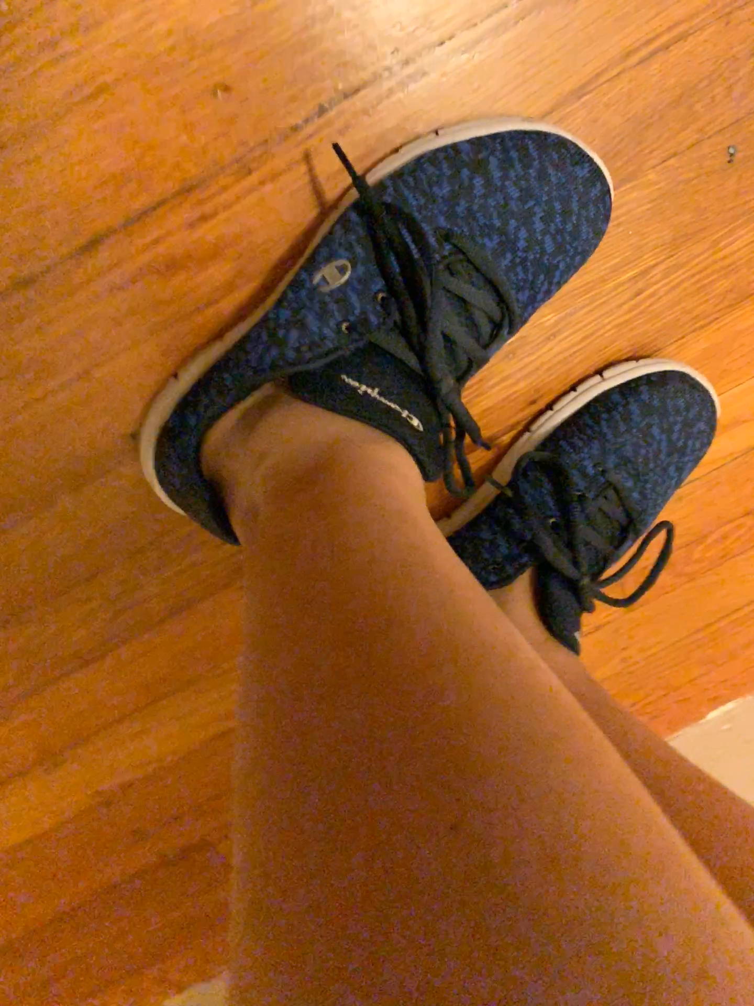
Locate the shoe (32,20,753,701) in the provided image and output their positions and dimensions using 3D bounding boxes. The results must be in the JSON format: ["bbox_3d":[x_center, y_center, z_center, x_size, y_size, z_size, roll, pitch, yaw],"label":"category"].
[{"bbox_3d":[-0.001,-0.070,0.368,0.290,0.149,0.116,-38,121,8],"label":"shoe"}]

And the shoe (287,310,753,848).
[{"bbox_3d":[0.100,0.042,0.448,0.280,0.129,0.118,-40,121,9],"label":"shoe"}]
